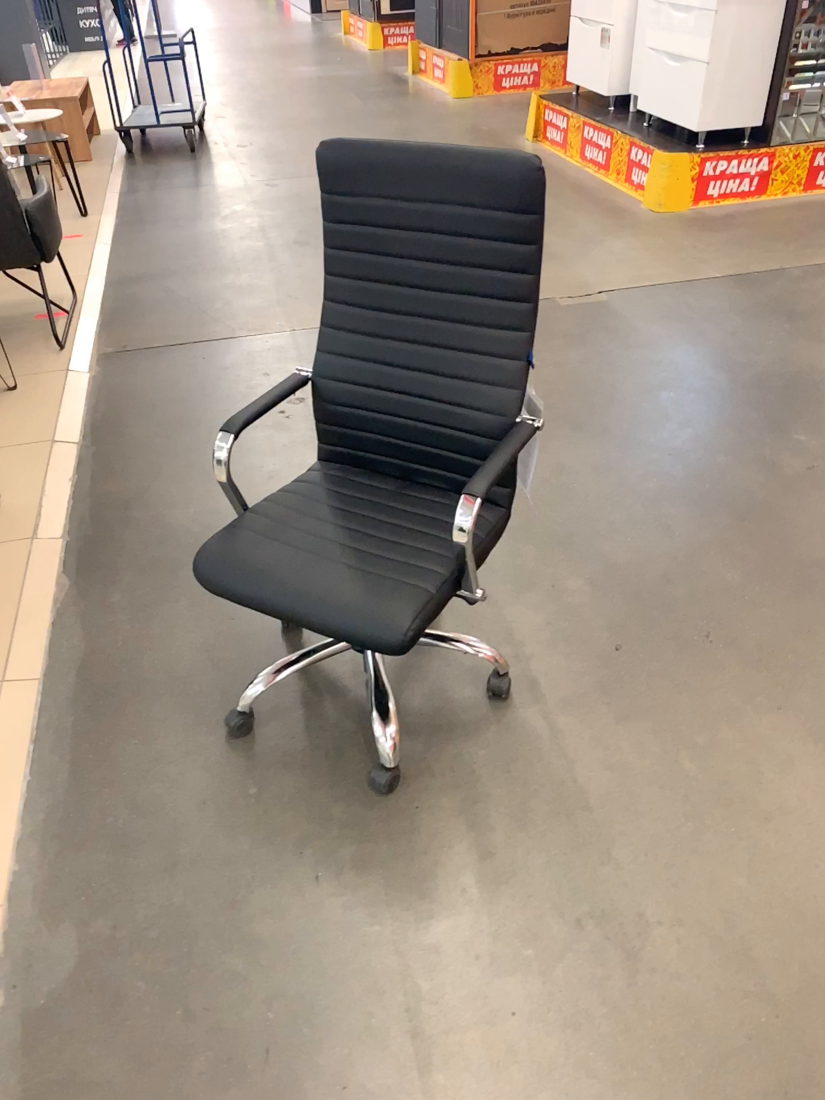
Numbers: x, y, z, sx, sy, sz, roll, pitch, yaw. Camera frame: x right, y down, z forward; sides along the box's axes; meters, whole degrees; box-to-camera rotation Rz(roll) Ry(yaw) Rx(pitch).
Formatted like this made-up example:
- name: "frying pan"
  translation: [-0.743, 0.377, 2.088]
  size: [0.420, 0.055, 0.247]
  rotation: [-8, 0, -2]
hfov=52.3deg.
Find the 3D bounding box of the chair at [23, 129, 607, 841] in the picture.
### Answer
- name: "chair"
  translation: [-0.098, -0.151, 1.640]
  size: [0.651, 1.075, 0.682]
  rotation: [16, 40, 24]
